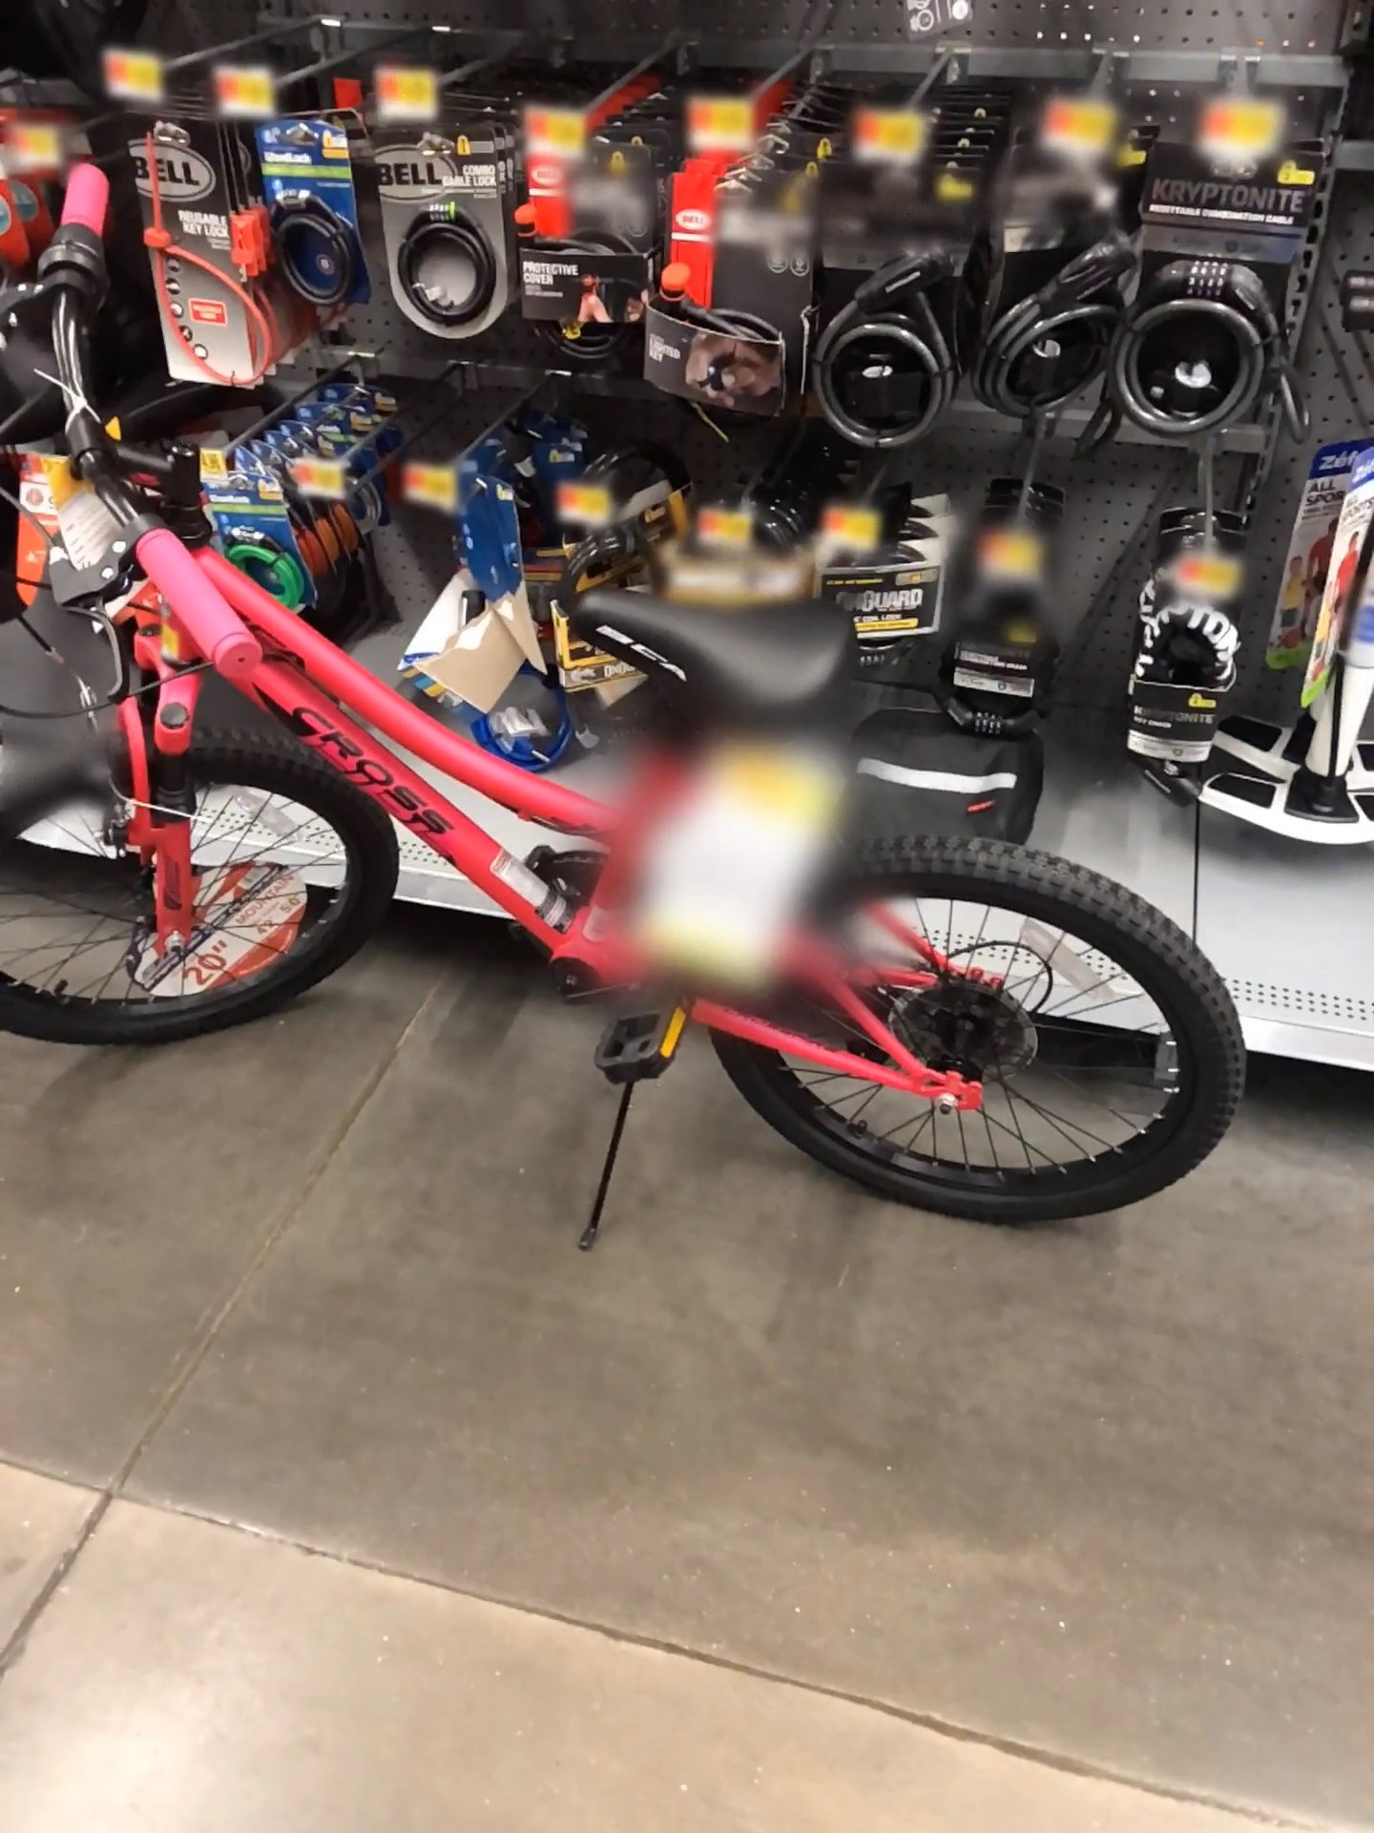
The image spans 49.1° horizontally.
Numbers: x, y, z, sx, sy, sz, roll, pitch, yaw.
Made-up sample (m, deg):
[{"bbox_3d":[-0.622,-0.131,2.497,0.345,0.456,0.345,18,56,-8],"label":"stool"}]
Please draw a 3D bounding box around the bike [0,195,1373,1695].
[{"bbox_3d":[-0.168,-0.008,1.177,1.223,0.877,0.611,6,38,10],"label":"bike"}]
